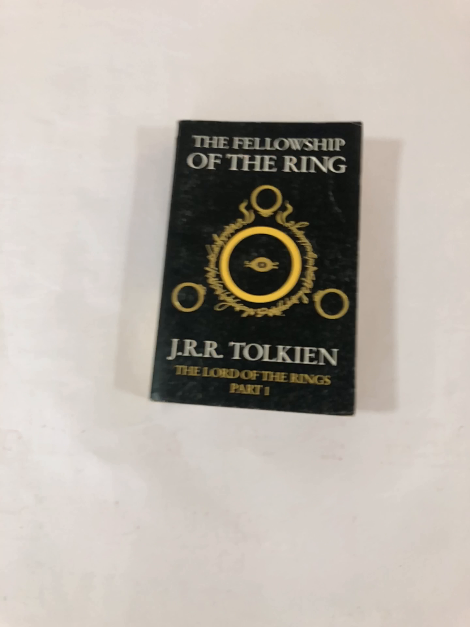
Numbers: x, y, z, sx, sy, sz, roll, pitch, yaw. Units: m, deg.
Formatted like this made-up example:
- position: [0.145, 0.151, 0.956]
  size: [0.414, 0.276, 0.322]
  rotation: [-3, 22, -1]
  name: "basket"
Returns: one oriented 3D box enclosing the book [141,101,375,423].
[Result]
- position: [0.021, -0.036, 0.349]
  size: [0.130, 0.050, 0.200]
  rotation: [3, 76, 10]
  name: "book"
